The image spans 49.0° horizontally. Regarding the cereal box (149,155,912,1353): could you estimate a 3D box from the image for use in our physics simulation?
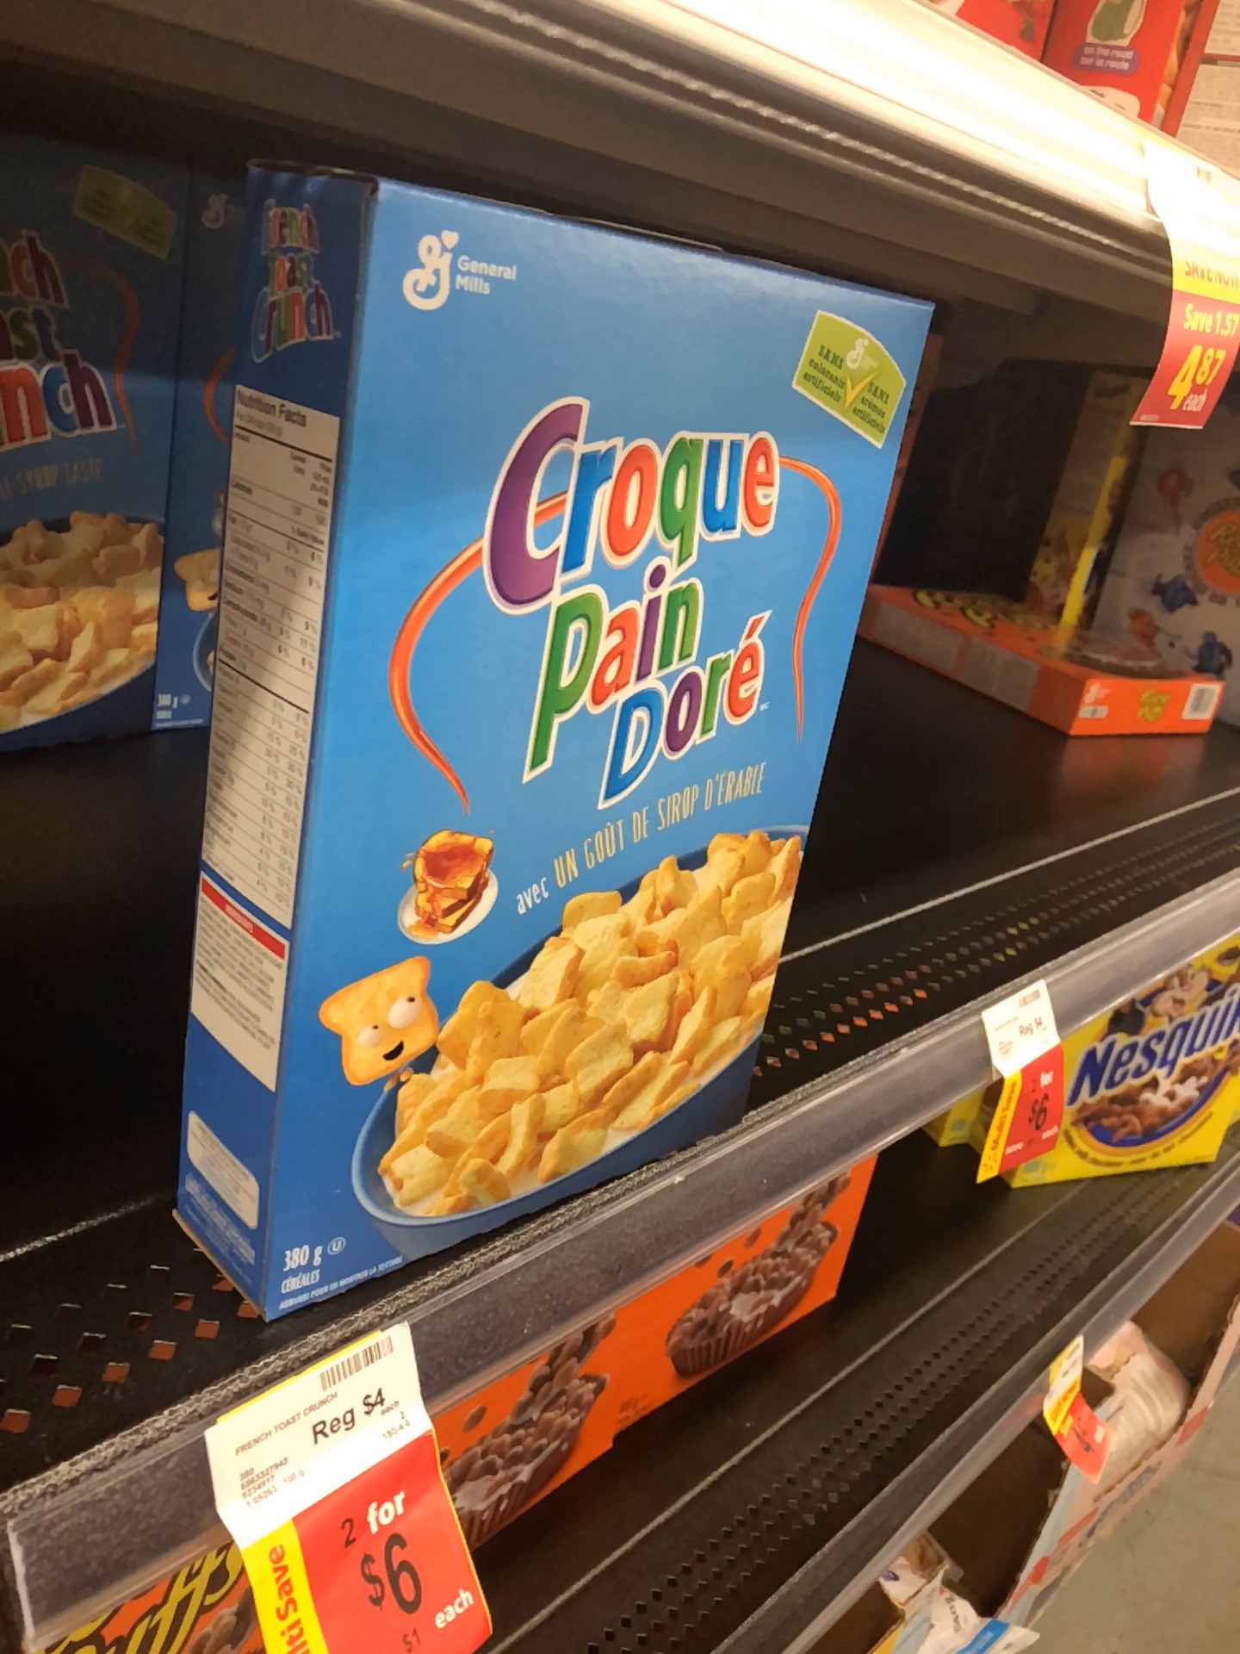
[{"bbox_3d":[-0.027,-0.019,0.413,0.200,0.298,0.060,-9,26,-43],"label":"cereal box"}]
